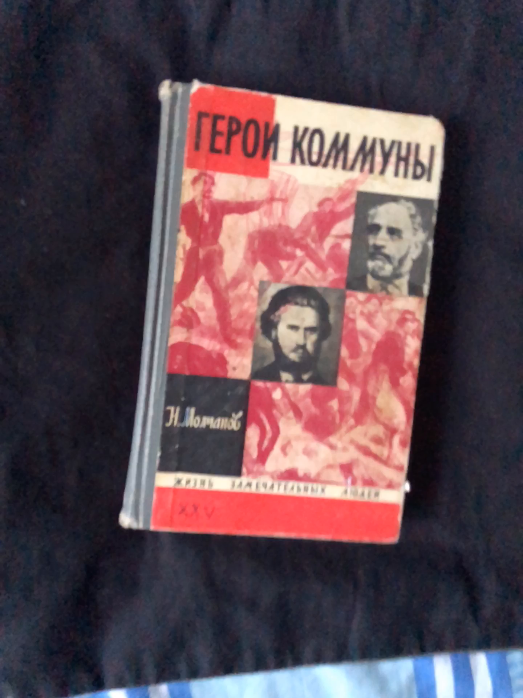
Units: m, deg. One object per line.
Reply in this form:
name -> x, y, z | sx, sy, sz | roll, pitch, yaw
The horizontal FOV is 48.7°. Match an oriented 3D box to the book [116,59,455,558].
book -> 0.008, -0.014, 0.275 | 0.128, 0.060, 0.200 | 5, 93, -6
